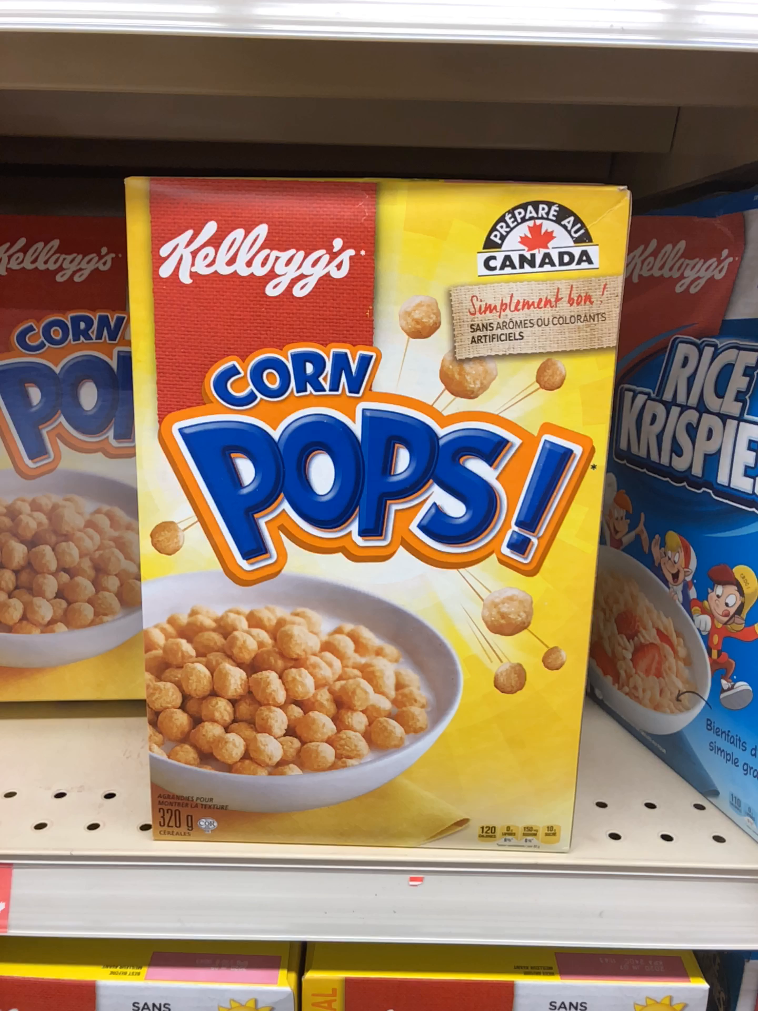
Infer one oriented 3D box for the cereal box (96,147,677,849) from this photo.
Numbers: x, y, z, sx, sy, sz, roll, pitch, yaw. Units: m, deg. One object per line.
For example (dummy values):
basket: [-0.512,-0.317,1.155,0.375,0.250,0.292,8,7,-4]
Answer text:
cereal box: [0.000,0.003,0.369,0.210,0.289,0.060,2,15,1]
